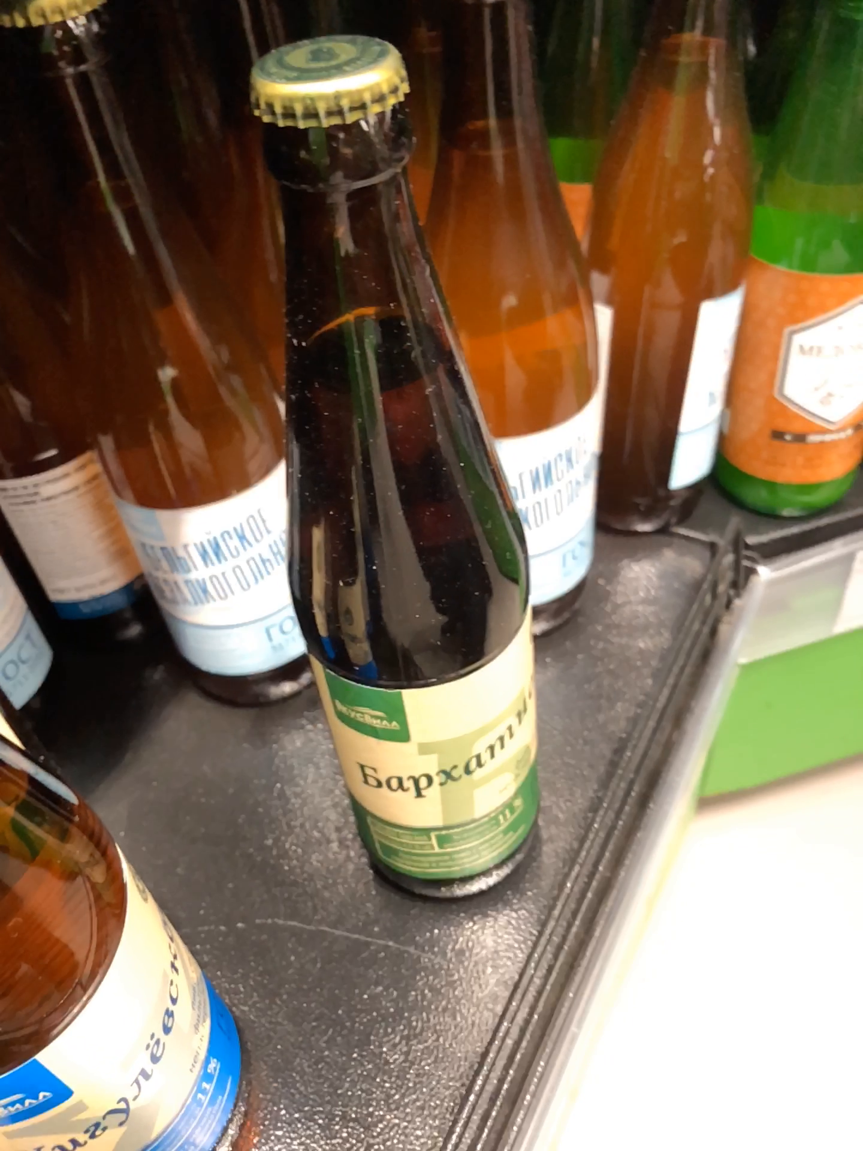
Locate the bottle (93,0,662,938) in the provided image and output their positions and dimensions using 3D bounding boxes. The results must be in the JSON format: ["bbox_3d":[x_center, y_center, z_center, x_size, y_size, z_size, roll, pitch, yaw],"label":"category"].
[{"bbox_3d":[-0.003,-0.006,0.259,0.080,0.249,0.070,-22,47,-15],"label":"bottle"}]
